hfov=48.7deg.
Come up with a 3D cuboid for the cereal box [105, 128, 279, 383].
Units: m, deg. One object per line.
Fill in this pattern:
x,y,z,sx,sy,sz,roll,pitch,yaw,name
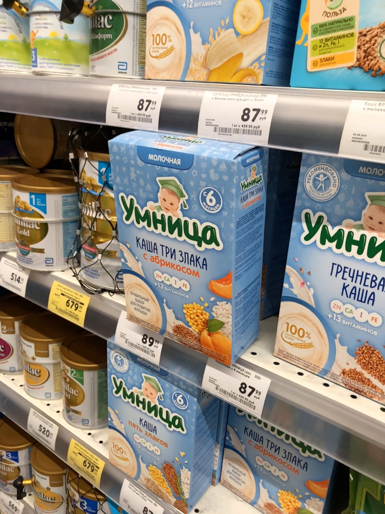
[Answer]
-0.001,-0.005,0.410,0.140,0.209,0.060,18,33,33,cereal box
